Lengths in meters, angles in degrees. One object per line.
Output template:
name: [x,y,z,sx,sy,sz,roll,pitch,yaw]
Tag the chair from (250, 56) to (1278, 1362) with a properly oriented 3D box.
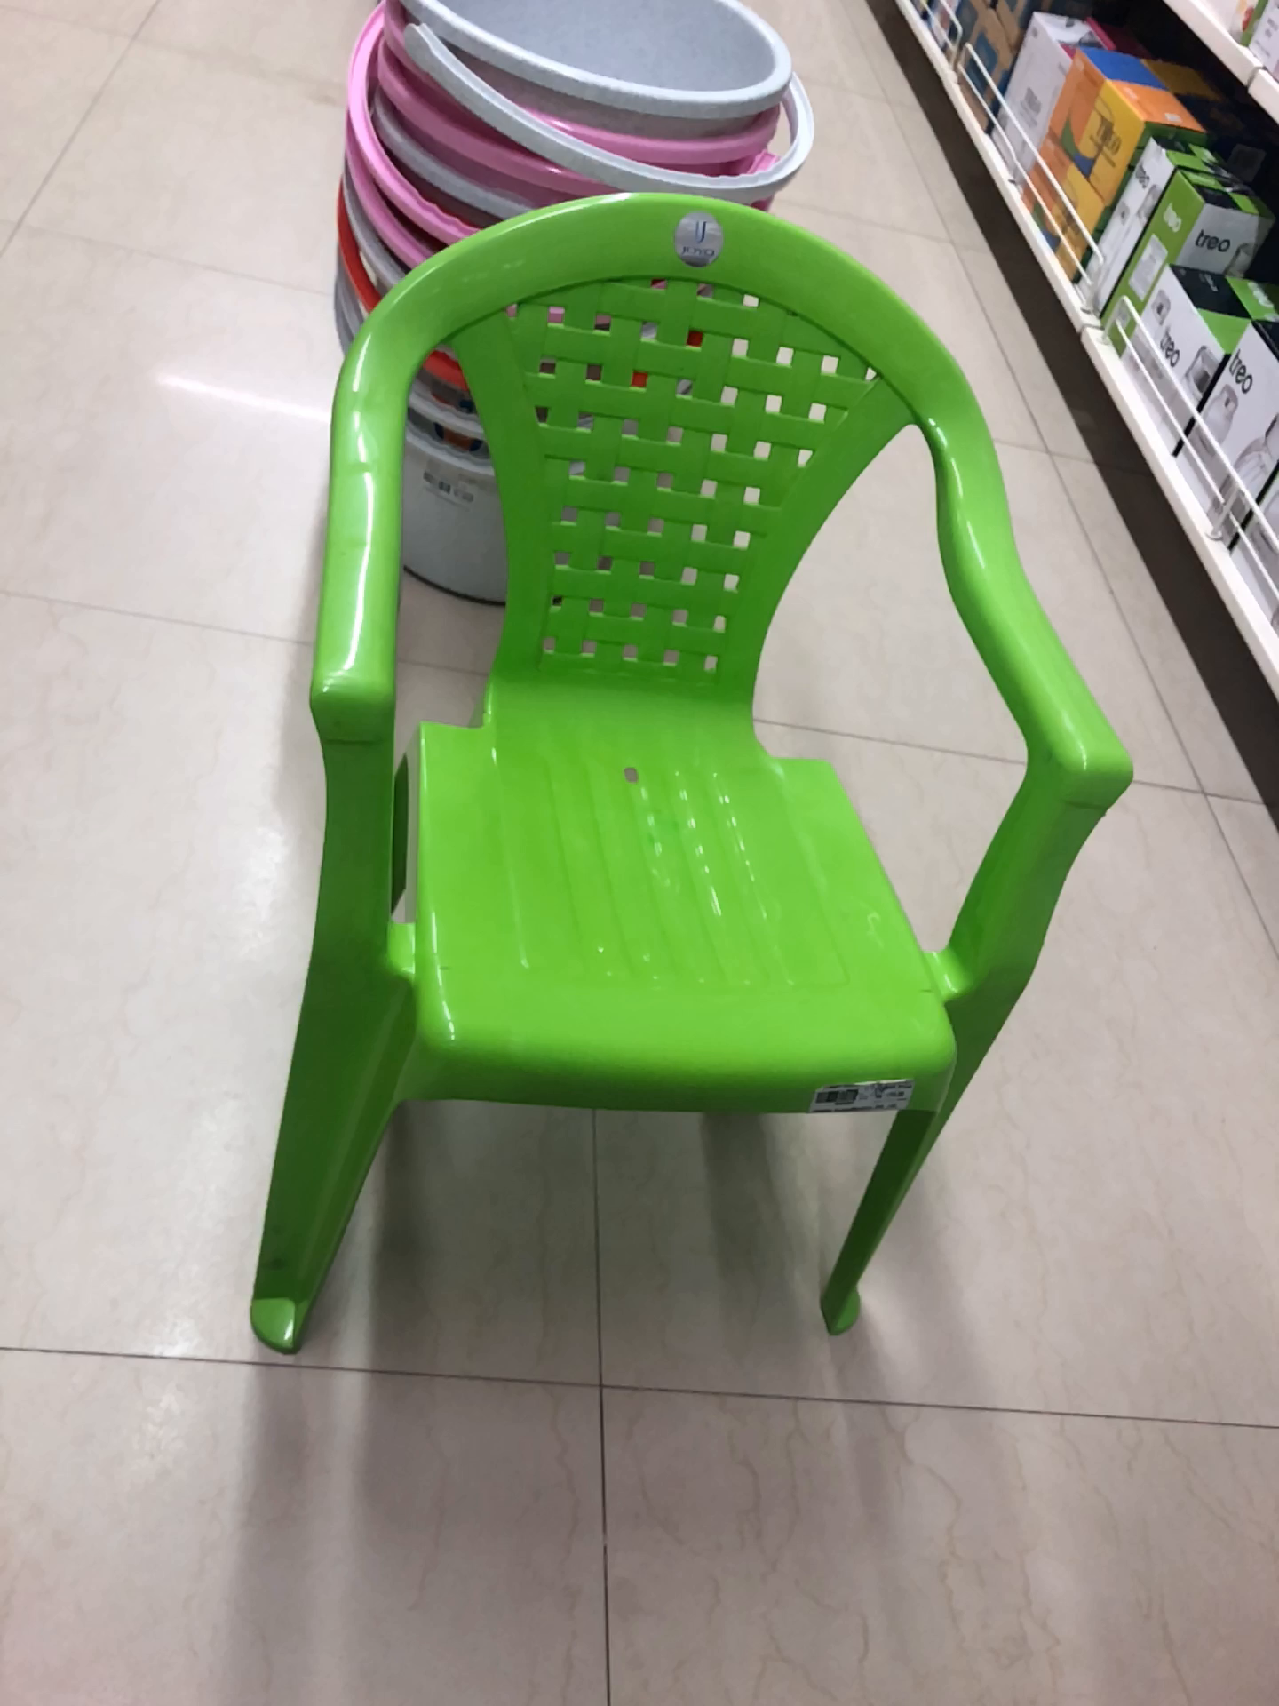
chair: [0.020,-0.016,0.689,0.360,0.517,0.312,5,46,-16]
